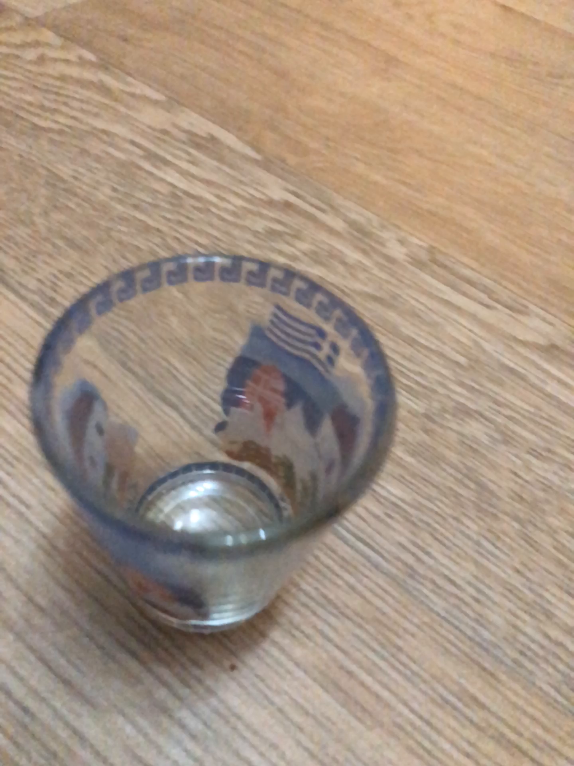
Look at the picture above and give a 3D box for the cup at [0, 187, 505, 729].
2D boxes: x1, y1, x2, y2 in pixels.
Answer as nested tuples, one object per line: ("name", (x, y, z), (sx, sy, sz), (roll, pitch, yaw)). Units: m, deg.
("cup", (-0.007, 0.014, 0.109), (0.050, 0.060, 0.050), (5, 52, -6))
